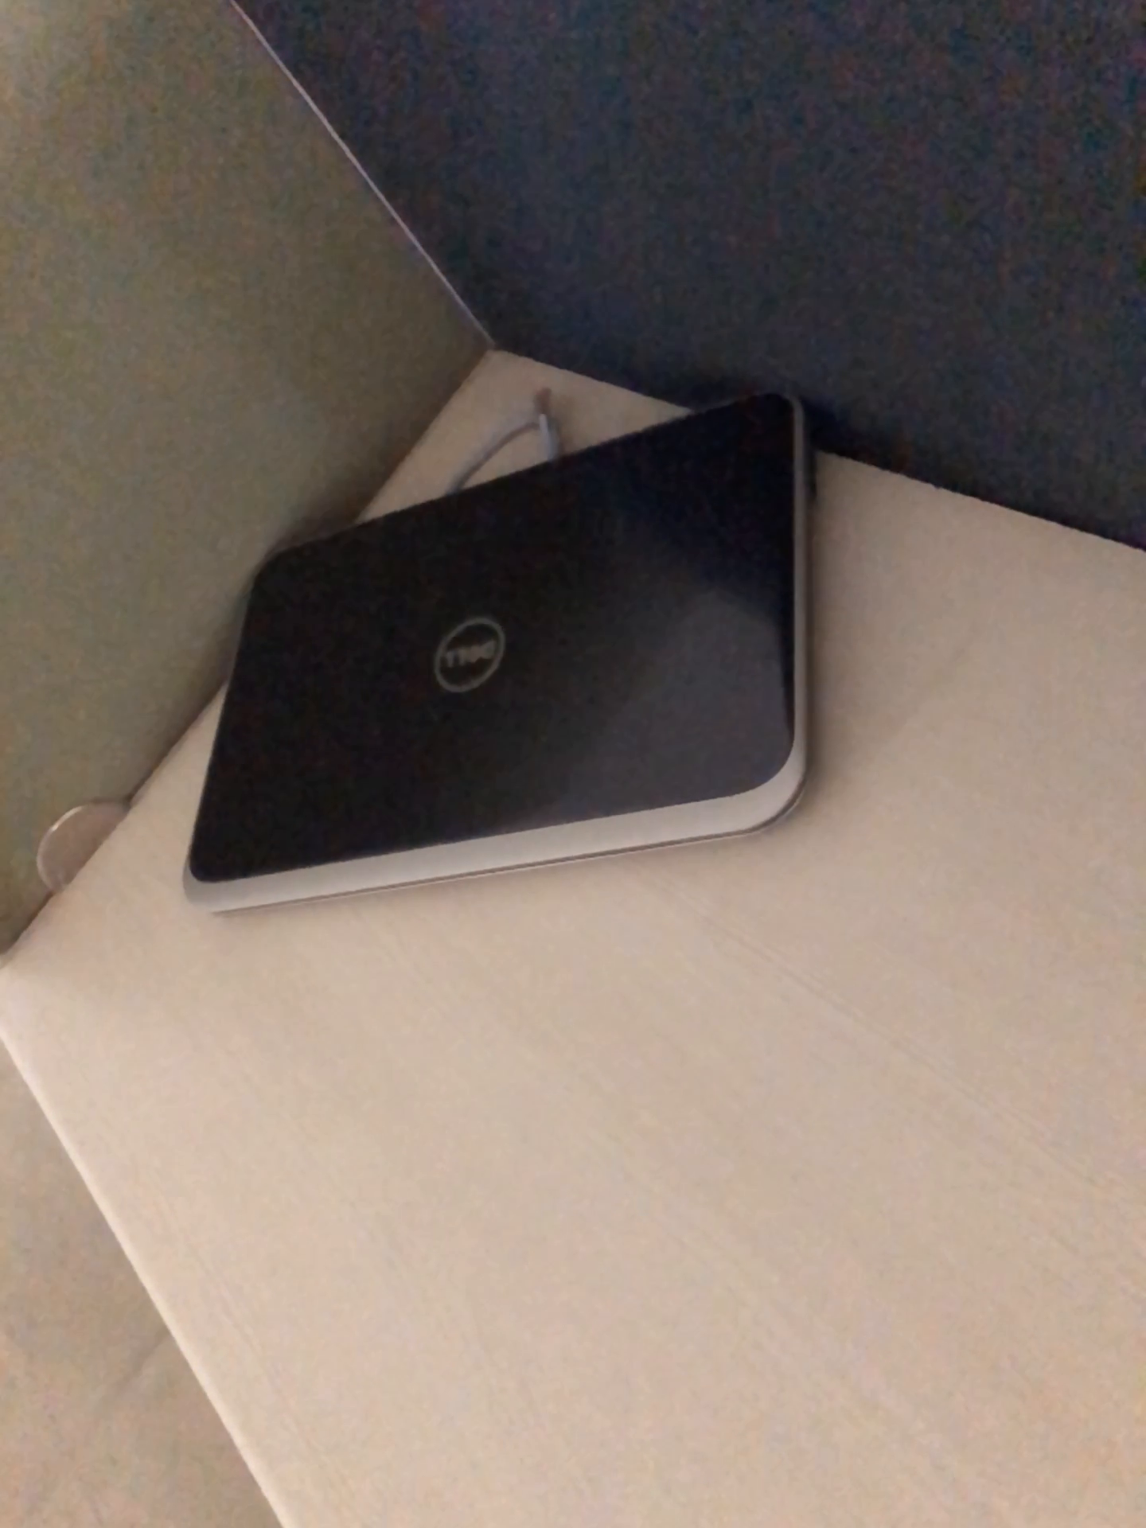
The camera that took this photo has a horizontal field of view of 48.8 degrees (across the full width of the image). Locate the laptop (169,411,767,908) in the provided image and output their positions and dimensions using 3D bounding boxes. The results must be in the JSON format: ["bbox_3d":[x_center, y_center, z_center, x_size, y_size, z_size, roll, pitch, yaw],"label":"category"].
[{"bbox_3d":[-0.067,-0.050,0.700,0.372,0.010,0.246,-10,57,32],"label":"laptop"}]
